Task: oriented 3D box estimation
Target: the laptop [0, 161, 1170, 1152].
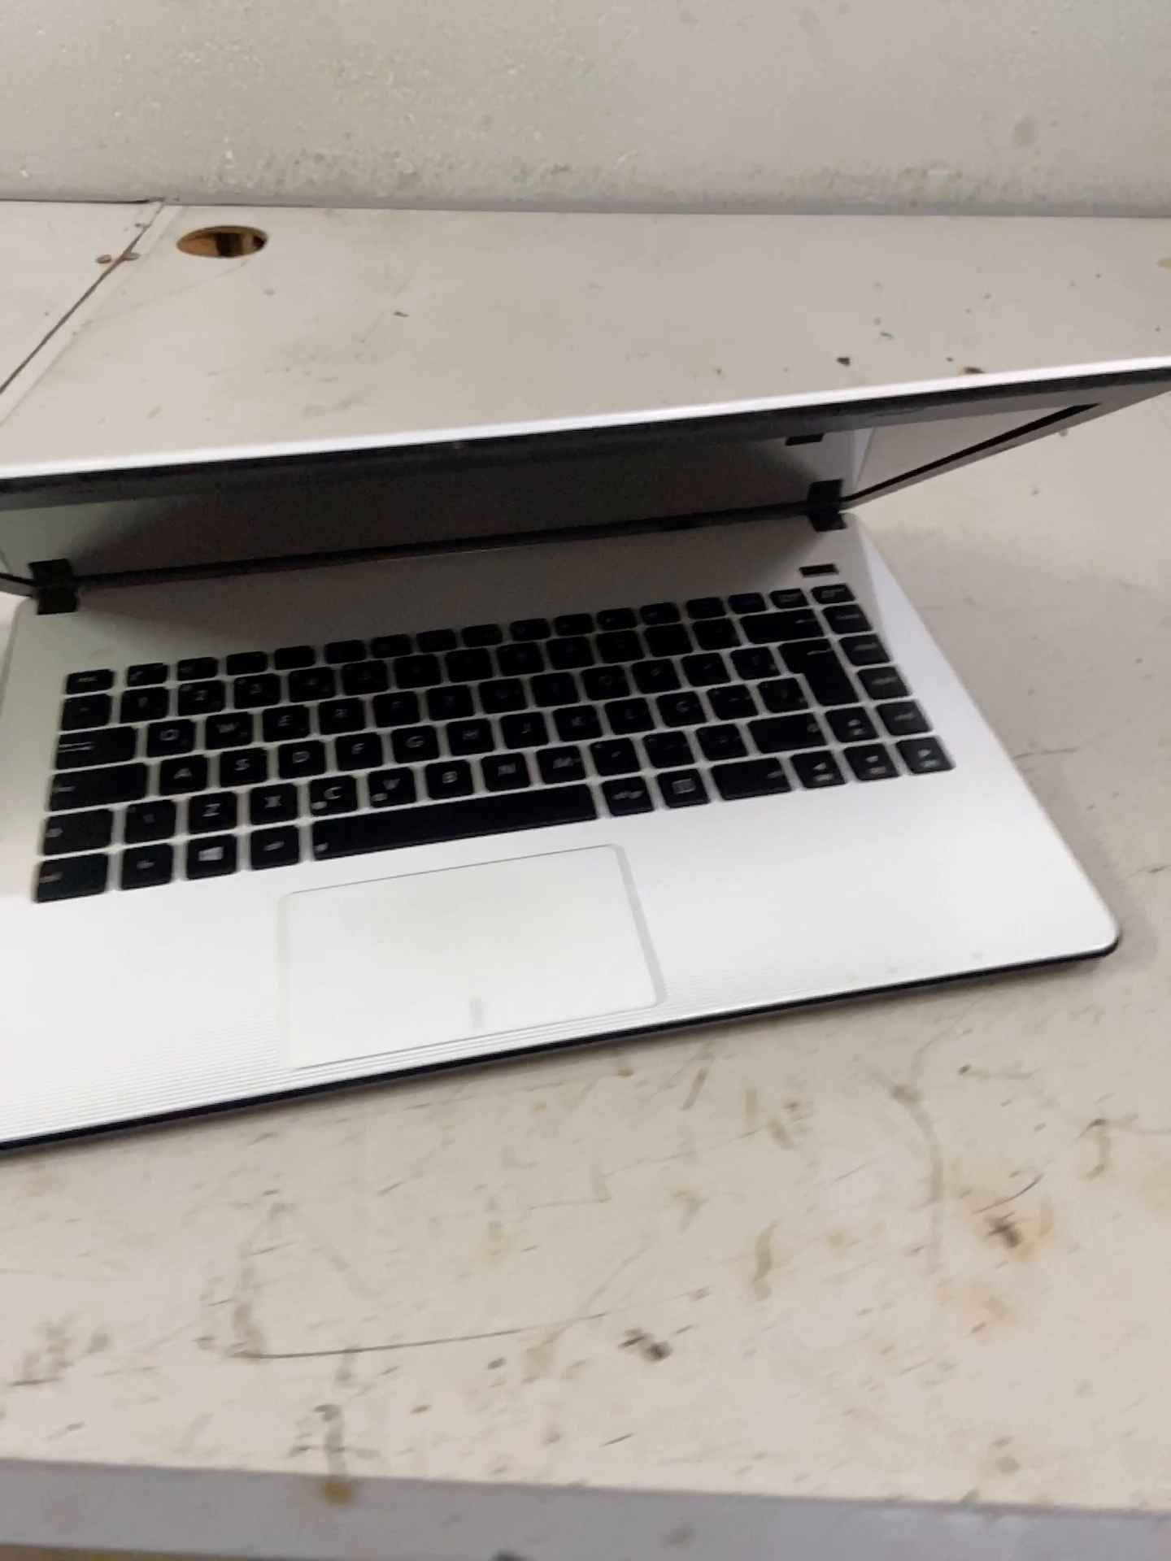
[{"bbox_3d":[-0.029,-0.063,0.372,0.343,0.141,0.237,-8,45,-9],"label":"laptop"}]
